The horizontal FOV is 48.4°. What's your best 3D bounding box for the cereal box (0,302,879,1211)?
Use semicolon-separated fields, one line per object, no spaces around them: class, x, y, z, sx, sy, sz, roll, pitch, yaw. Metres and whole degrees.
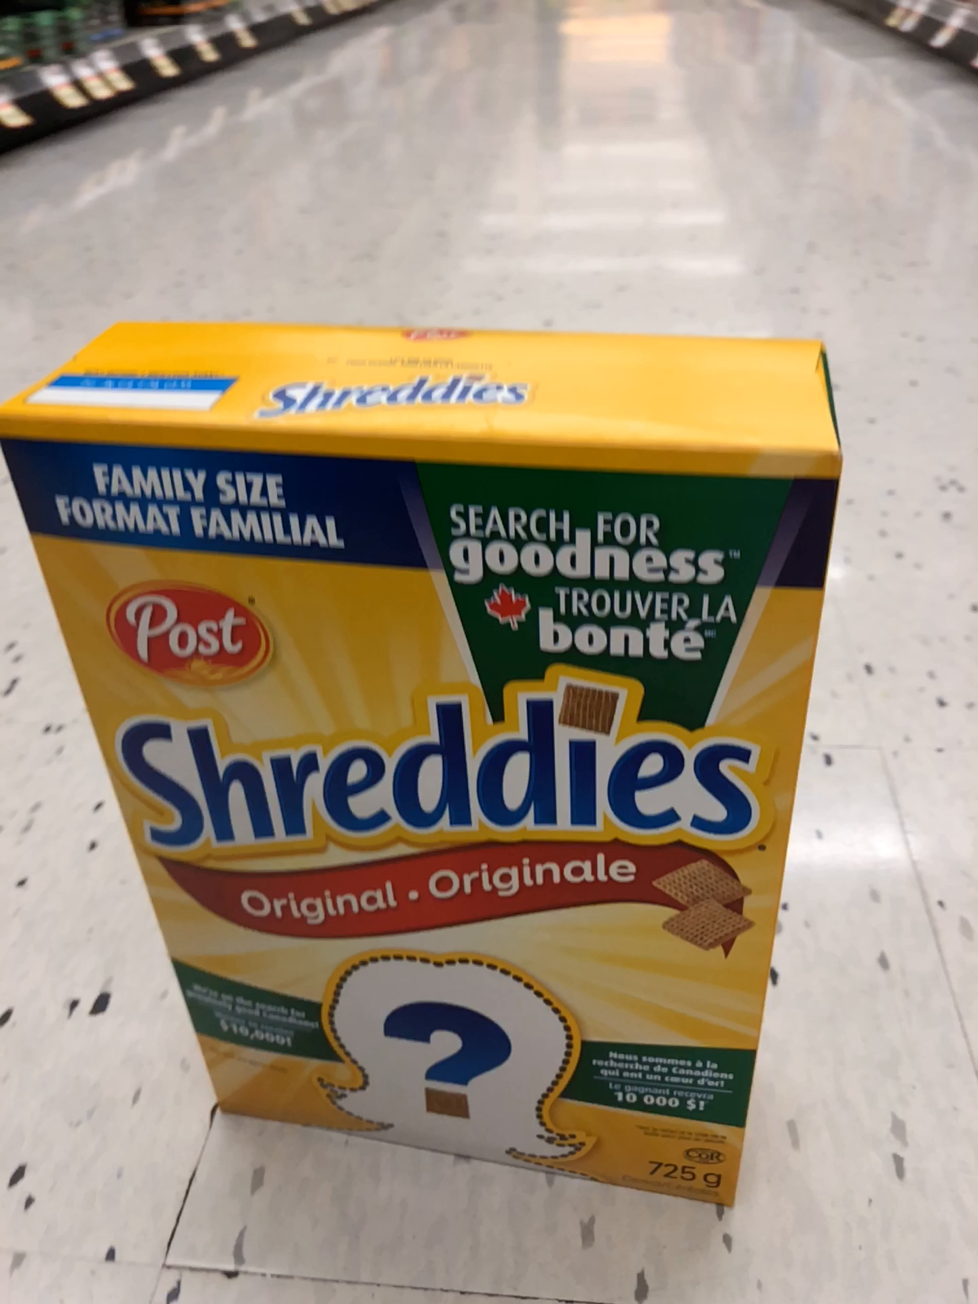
cereal box;-0.008;0.055;0.362;0.210;0.318;0.070;4;38;11
